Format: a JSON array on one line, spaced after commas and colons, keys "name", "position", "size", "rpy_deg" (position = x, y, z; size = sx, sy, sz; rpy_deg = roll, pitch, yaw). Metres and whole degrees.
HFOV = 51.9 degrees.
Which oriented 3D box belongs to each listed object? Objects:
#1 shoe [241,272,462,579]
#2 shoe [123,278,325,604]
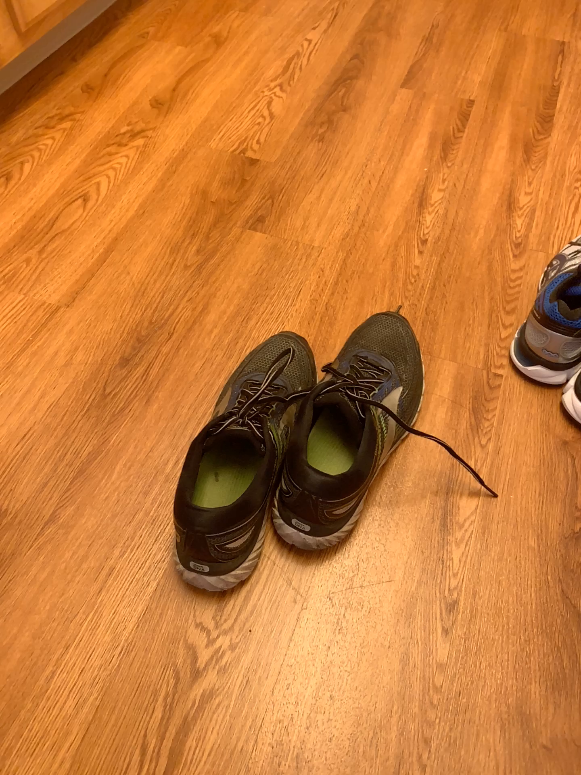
[{"name": "shoe", "position": [0.074, 0.031, 0.655], "size": [0.100, 0.120, 0.311], "rpy_deg": [24, 58, 16]}, {"name": "shoe", "position": [-0.051, 0.044, 0.629], "size": [0.100, 0.120, 0.311], "rpy_deg": [13, 56, 9]}]
